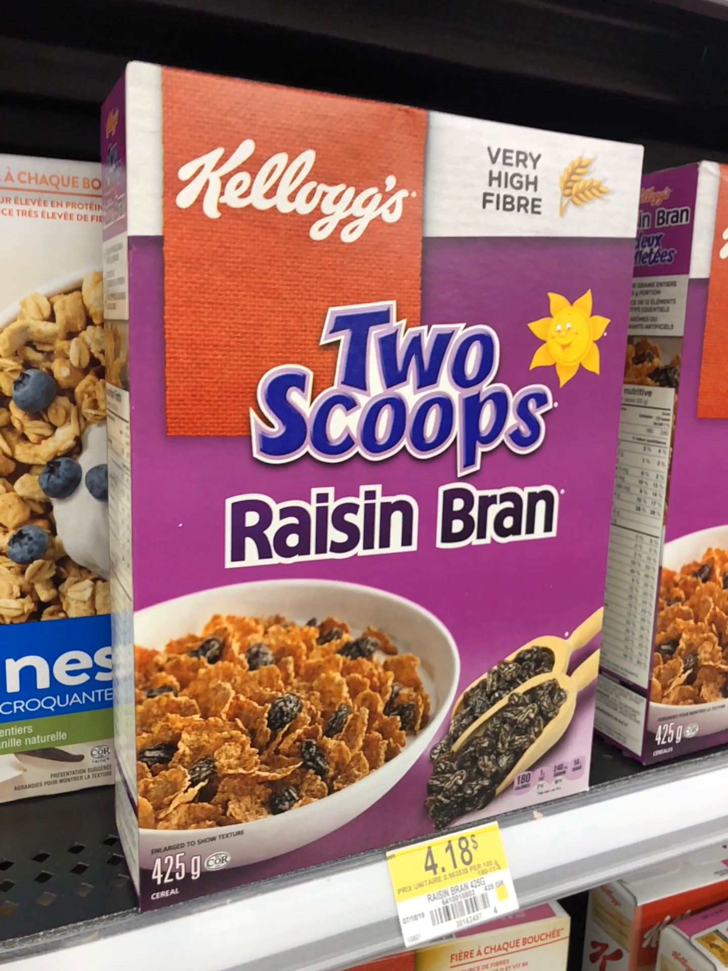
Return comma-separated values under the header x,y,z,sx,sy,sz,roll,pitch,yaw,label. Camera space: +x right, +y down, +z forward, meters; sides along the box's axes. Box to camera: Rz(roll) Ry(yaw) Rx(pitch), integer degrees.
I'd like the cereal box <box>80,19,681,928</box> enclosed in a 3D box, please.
x,y,z,sx,sy,sz,roll,pitch,yaw,label
0.006,0.001,0.298,0.200,0.269,0.050,-2,12,-23,cereal box
